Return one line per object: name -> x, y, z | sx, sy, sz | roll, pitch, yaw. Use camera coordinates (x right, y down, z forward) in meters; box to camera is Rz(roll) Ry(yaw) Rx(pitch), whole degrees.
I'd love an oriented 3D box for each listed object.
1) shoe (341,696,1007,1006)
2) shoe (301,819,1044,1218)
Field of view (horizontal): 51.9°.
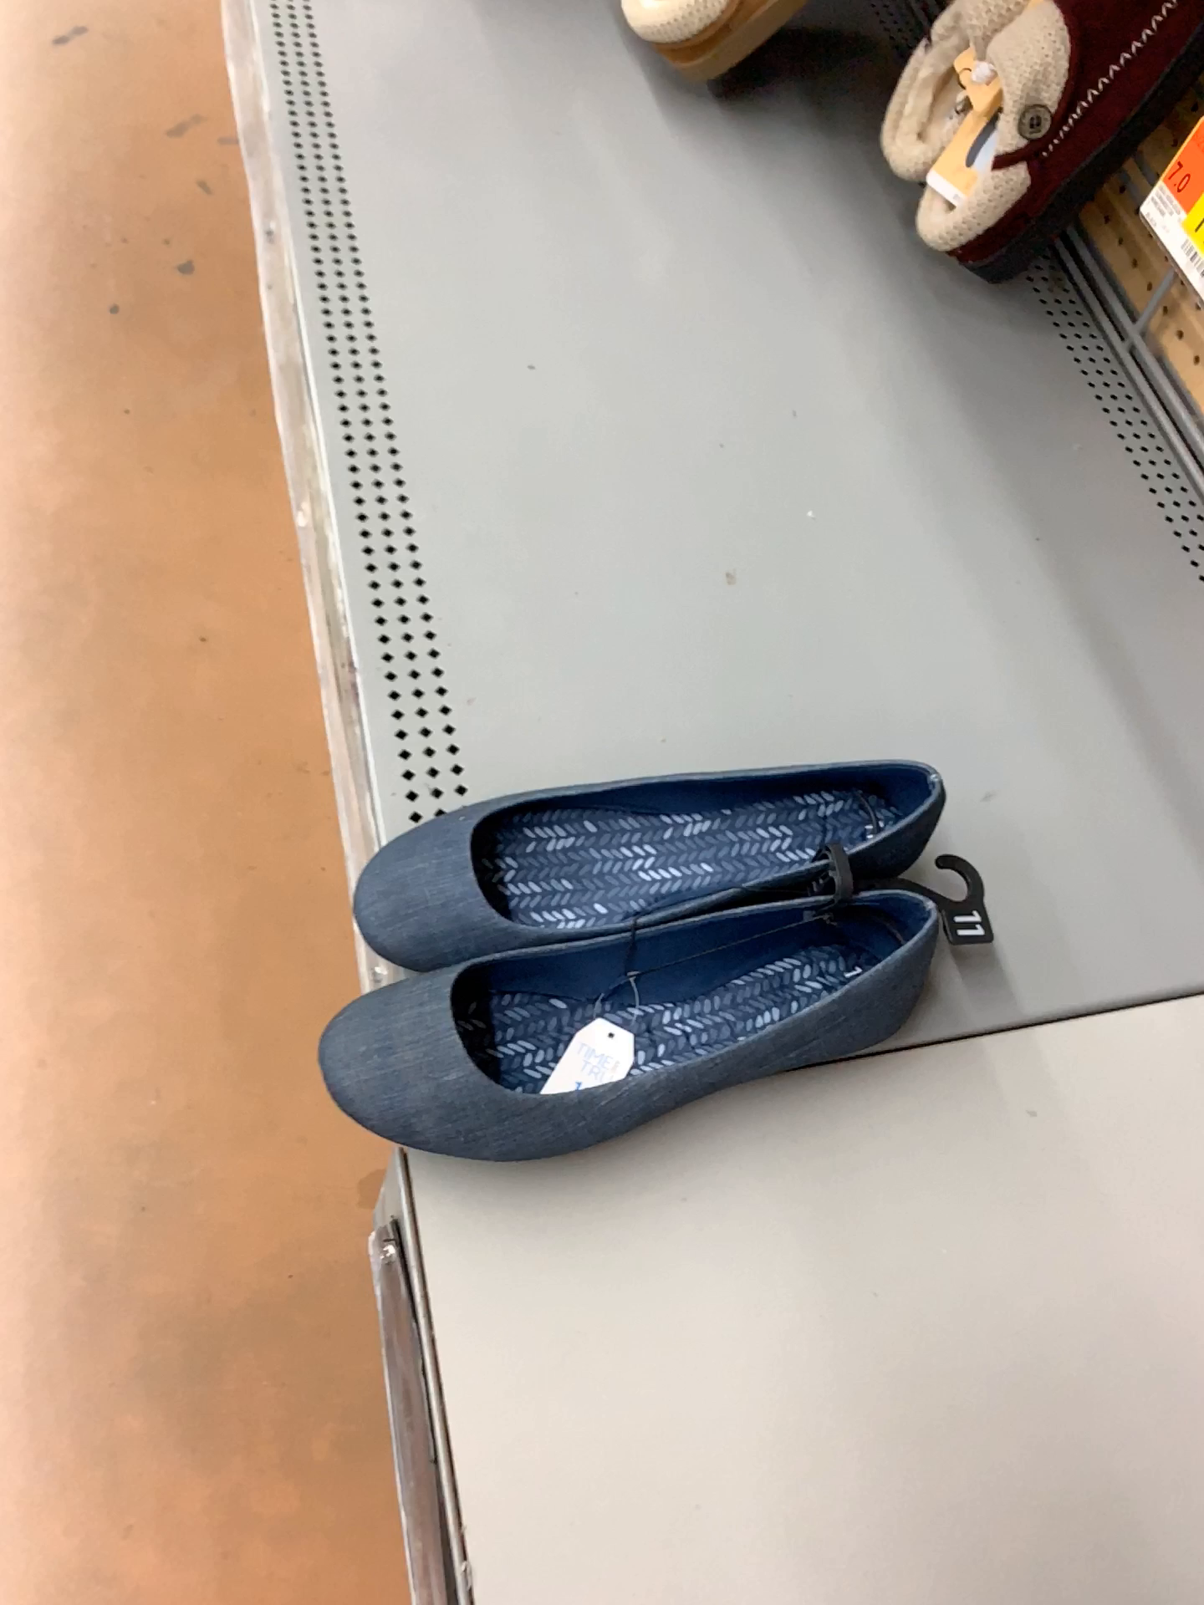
shoe -> 0.026, 0.021, 0.573 | 0.280, 0.090, 0.090 | -4, 56, -11
shoe -> 0.025, 0.087, 0.520 | 0.280, 0.090, 0.090 | -7, 54, -13
